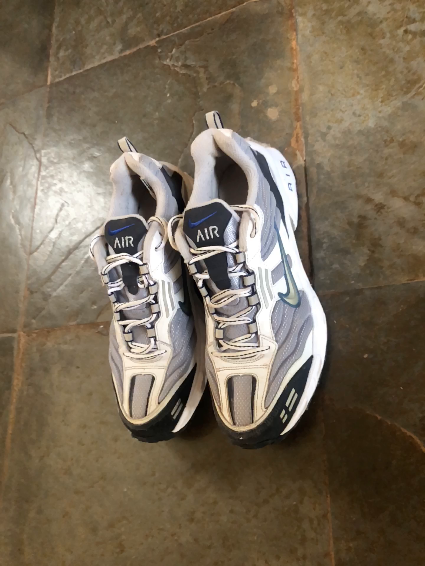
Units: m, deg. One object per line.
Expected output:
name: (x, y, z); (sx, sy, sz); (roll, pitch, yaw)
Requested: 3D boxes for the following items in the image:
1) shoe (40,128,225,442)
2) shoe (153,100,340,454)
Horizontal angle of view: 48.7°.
shoe: (-0.066, 0.011, 0.447); (0.110, 0.120, 0.261); (-9, 71, 24)
shoe: (0.028, 0.003, 0.398); (0.110, 0.110, 0.261); (-9, 71, 24)
